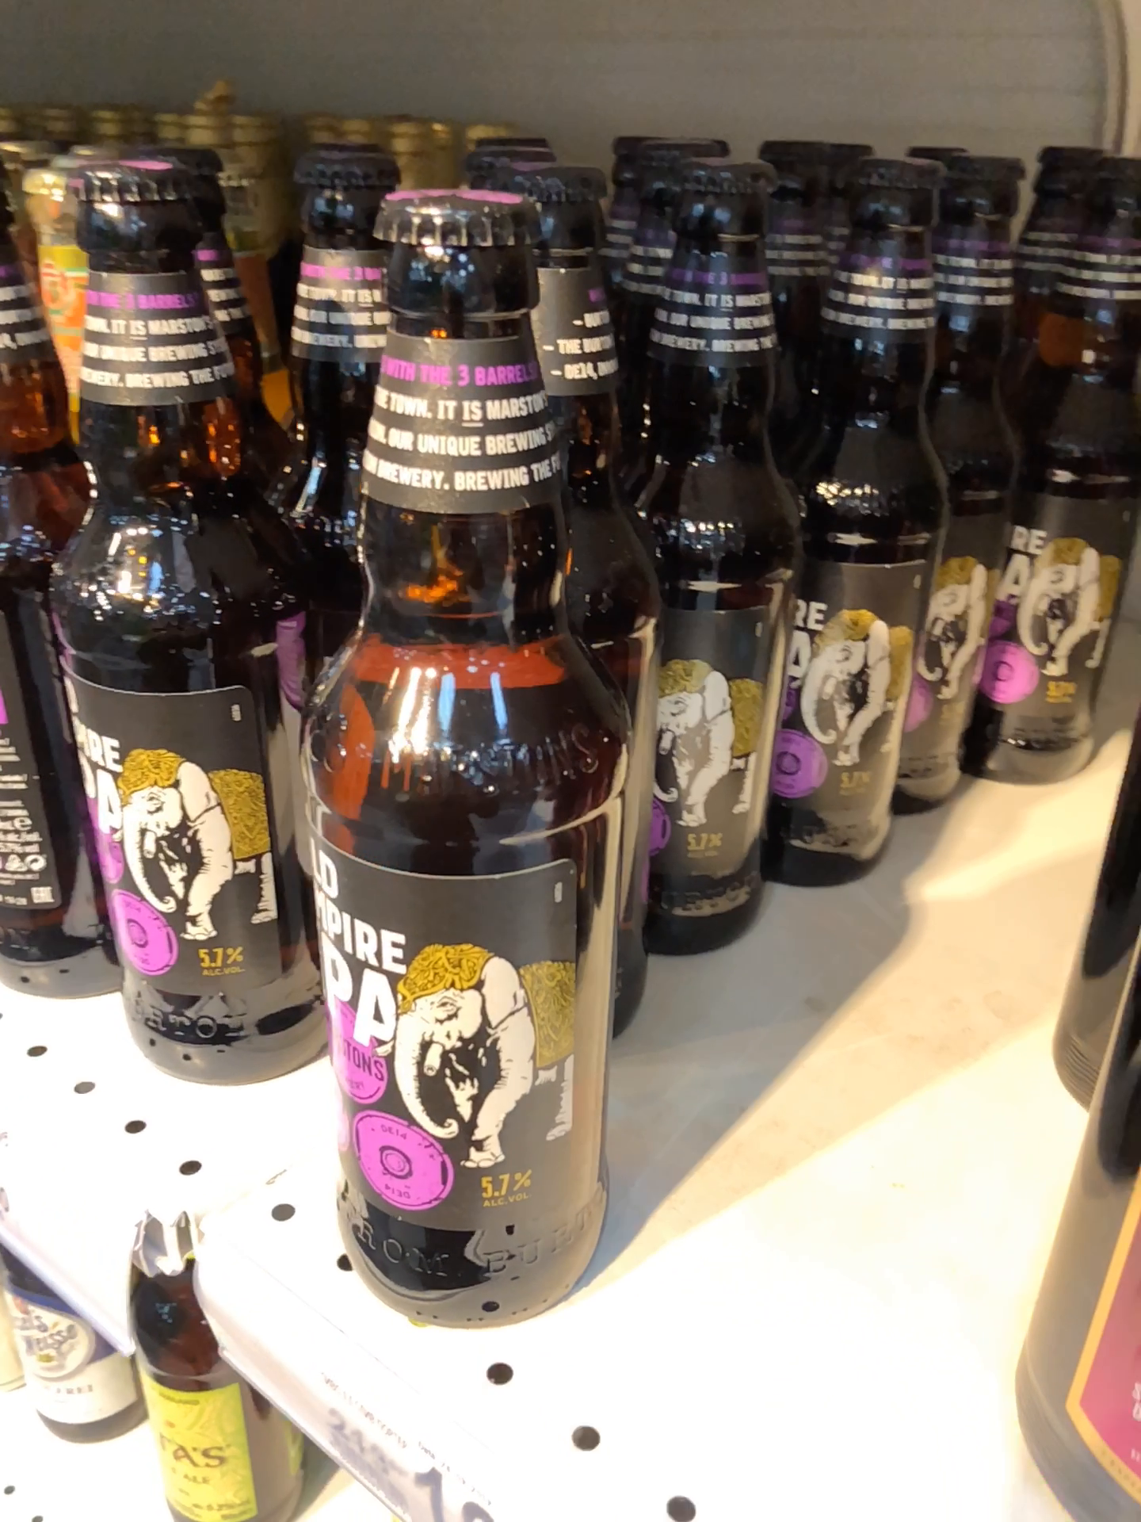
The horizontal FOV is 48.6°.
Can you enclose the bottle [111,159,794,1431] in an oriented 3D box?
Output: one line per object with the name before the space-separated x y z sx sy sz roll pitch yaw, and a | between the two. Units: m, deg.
bottle | -0.022 0.008 0.263 0.080 0.239 0.080 1 27 -1
